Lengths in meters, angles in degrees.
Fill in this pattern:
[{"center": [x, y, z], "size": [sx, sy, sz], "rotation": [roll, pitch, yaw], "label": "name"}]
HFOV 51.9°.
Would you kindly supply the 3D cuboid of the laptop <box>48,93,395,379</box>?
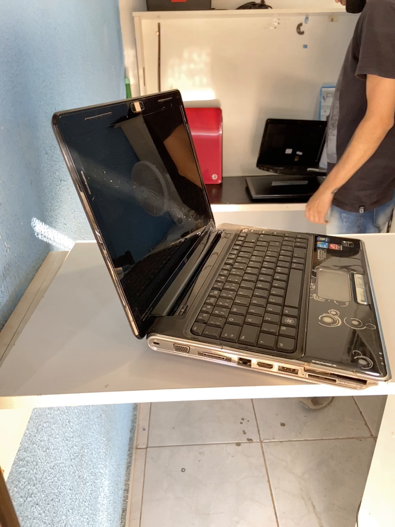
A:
[{"center": [0.065, -0.080, 0.495], "size": [0.301, 0.211, 0.323], "rotation": [7, 27, 14], "label": "laptop"}]
